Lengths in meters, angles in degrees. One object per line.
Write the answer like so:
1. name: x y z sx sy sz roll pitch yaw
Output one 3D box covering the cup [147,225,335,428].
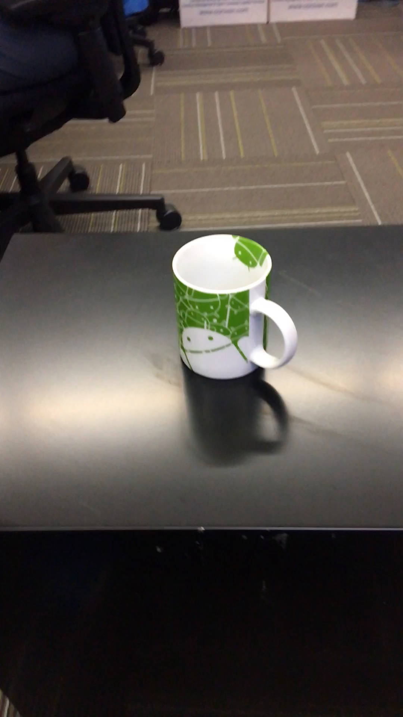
1. cup: 0.034 -0.030 0.514 0.120 0.110 0.090 24 49 26
